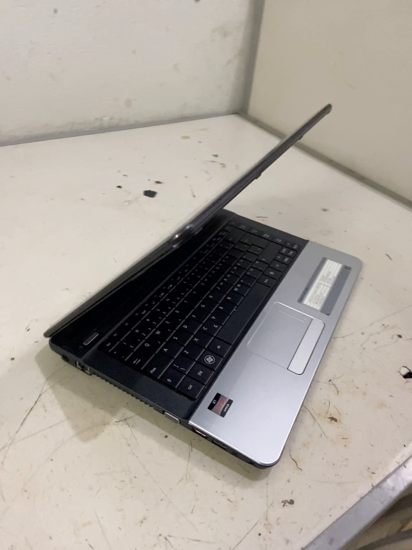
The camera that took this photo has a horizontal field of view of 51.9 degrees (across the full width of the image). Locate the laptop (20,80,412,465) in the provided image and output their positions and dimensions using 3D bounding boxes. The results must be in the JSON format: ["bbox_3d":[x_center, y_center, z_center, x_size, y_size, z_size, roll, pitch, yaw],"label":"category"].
[{"bbox_3d":[0.040,-0.049,0.444,0.238,0.184,0.336,23,41,19],"label":"laptop"}]
